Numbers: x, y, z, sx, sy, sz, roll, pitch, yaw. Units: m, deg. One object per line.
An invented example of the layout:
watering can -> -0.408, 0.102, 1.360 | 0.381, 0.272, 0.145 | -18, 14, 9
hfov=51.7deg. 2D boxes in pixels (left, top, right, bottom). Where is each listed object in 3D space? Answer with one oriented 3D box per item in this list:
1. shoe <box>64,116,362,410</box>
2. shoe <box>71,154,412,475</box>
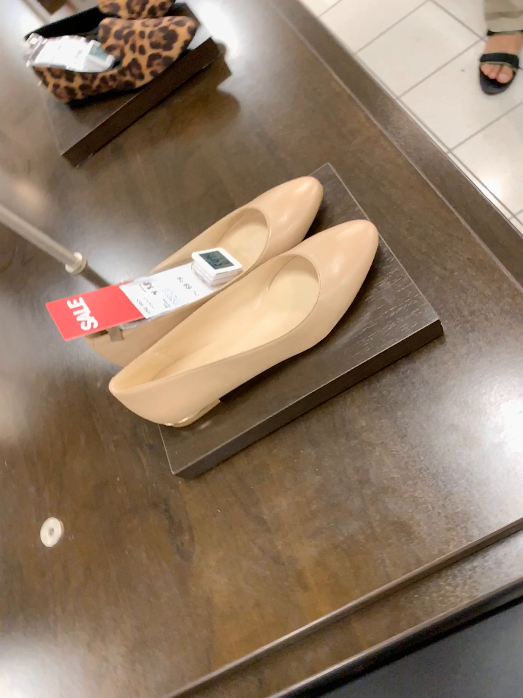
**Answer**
shoe -> -0.043, -0.072, 0.479 | 0.250, 0.080, 0.090 | -43, 55, 4
shoe -> -0.017, -0.021, 0.425 | 0.250, 0.080, 0.090 | -40, 56, 6
